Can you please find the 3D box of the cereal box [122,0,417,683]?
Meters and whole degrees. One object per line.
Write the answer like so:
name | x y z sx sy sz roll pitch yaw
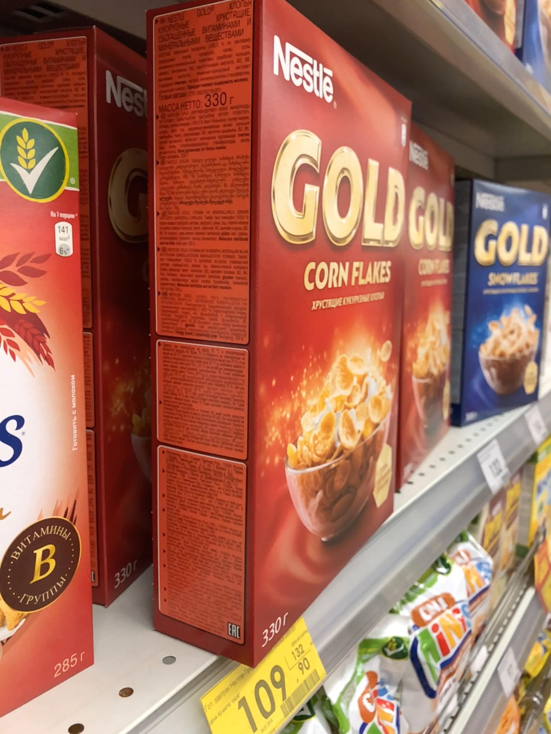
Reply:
cereal box | 0.011 -0.023 0.335 0.060 0.279 0.201 7 11 28
